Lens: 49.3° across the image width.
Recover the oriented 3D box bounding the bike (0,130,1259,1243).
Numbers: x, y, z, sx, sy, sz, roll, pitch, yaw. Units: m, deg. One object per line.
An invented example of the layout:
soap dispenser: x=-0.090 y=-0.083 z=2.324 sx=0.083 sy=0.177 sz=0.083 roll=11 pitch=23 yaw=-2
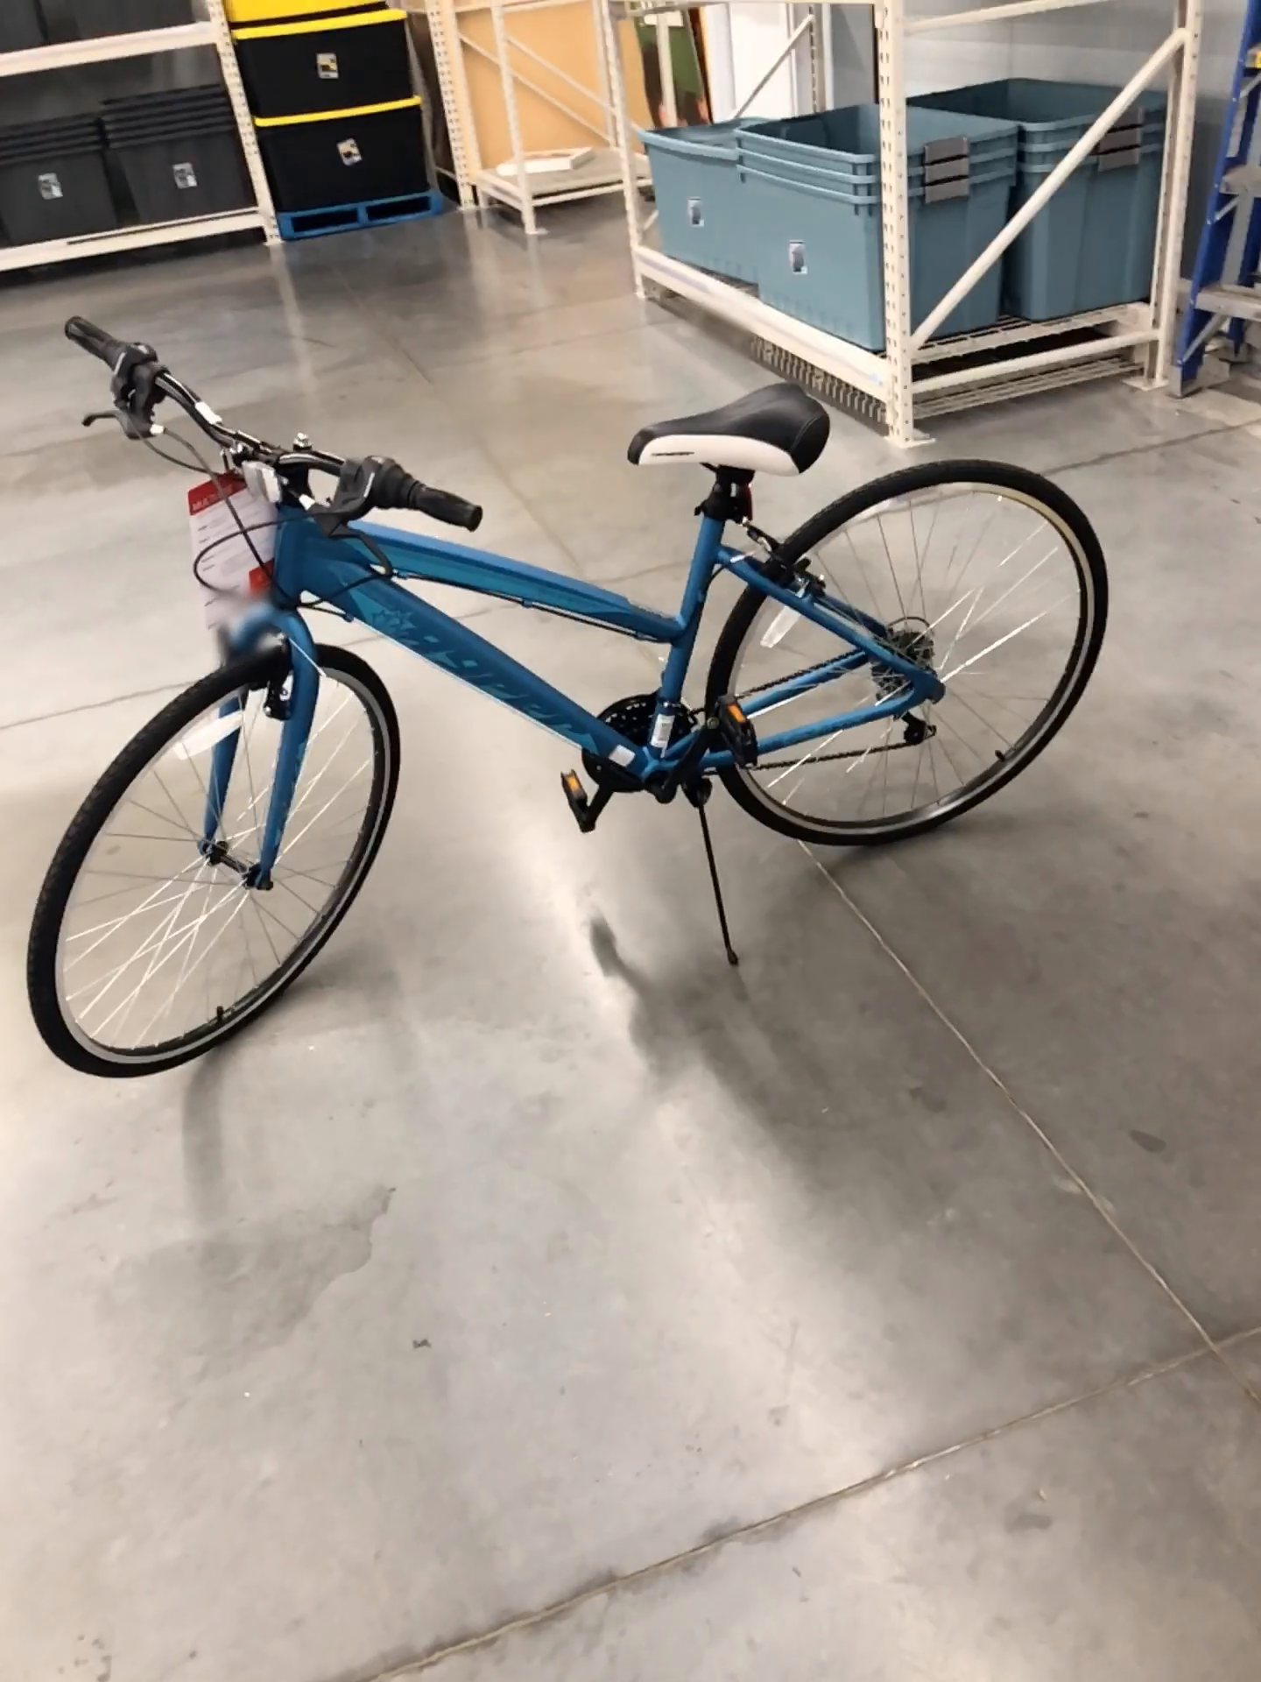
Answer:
bike: x=-0.052 y=-0.291 z=1.868 sx=1.605 sy=0.978 sz=0.581 roll=-18 pitch=34 yaw=-17
